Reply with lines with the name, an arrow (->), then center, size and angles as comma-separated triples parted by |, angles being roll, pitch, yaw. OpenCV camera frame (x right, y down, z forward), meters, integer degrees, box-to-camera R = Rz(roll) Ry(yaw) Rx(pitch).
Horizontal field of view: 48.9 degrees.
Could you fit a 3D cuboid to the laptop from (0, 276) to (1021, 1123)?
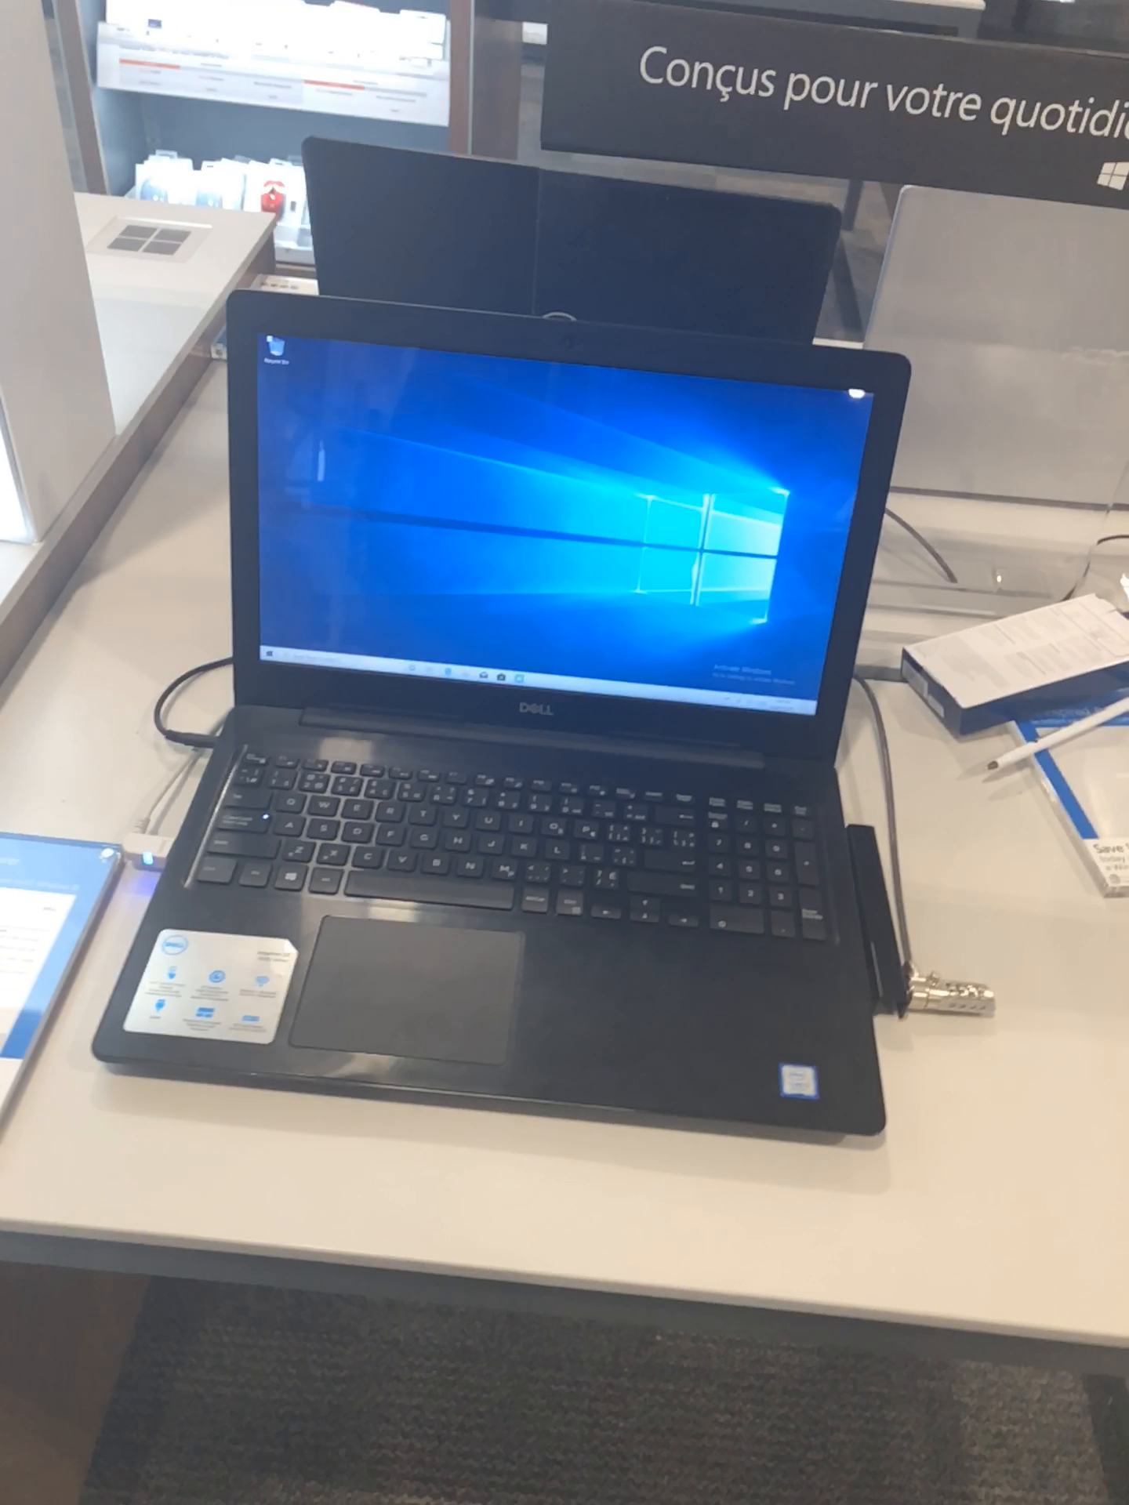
laptop -> -0.017, -0.044, 0.633 | 0.363, 0.224, 0.337 | 6, 44, 1
